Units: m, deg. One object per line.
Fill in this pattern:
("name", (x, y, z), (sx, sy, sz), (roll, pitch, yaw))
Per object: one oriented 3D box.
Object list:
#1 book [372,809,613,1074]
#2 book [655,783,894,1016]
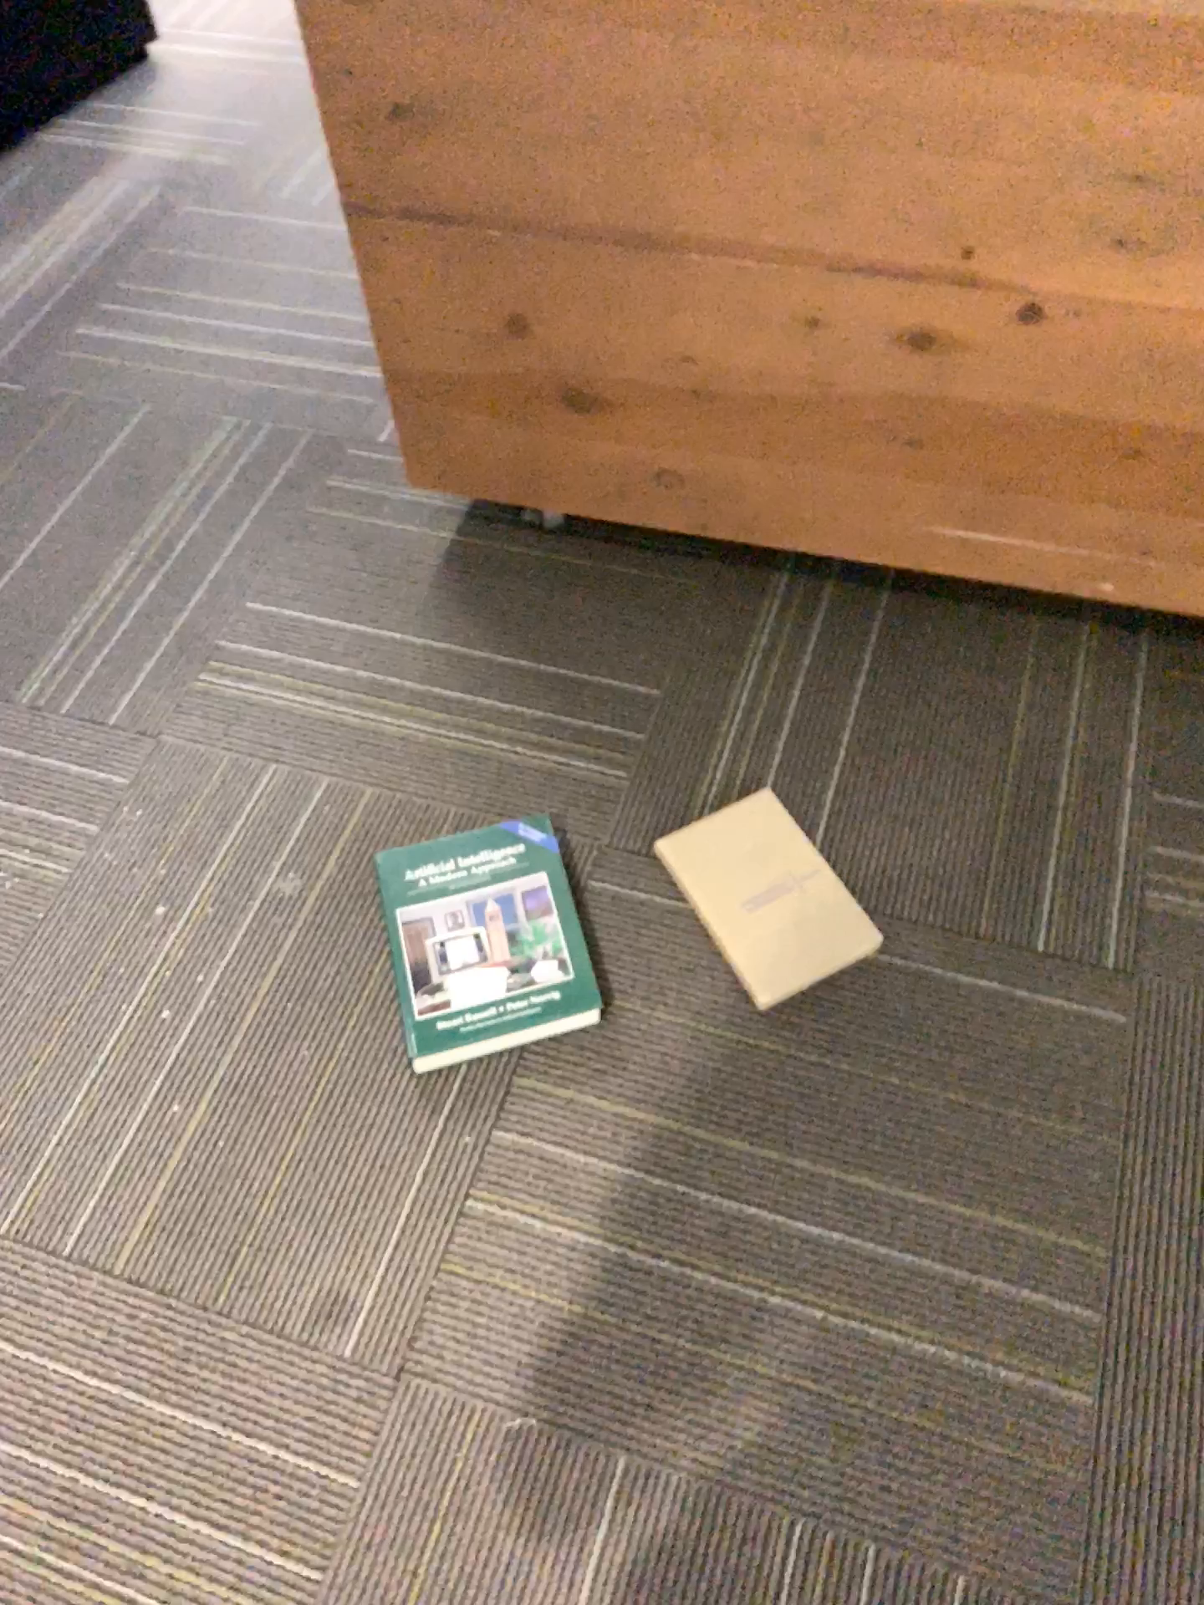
("book", (-0.125, 0.145, 1.357), (0.210, 0.030, 0.261), (-15, 55, -6))
("book", (0.188, 0.101, 1.386), (0.160, 0.020, 0.241), (-25, 57, -12))
